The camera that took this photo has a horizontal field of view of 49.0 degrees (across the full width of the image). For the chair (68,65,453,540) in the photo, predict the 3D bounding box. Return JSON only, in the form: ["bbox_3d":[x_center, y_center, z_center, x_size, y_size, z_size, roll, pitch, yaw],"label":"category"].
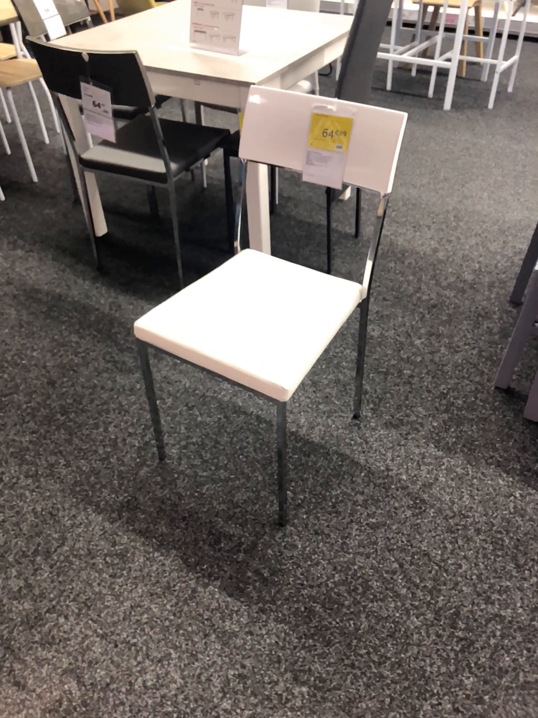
[{"bbox_3d":[0.017,-0.132,1.355,0.500,0.815,0.543,21,46,24],"label":"chair"}]
